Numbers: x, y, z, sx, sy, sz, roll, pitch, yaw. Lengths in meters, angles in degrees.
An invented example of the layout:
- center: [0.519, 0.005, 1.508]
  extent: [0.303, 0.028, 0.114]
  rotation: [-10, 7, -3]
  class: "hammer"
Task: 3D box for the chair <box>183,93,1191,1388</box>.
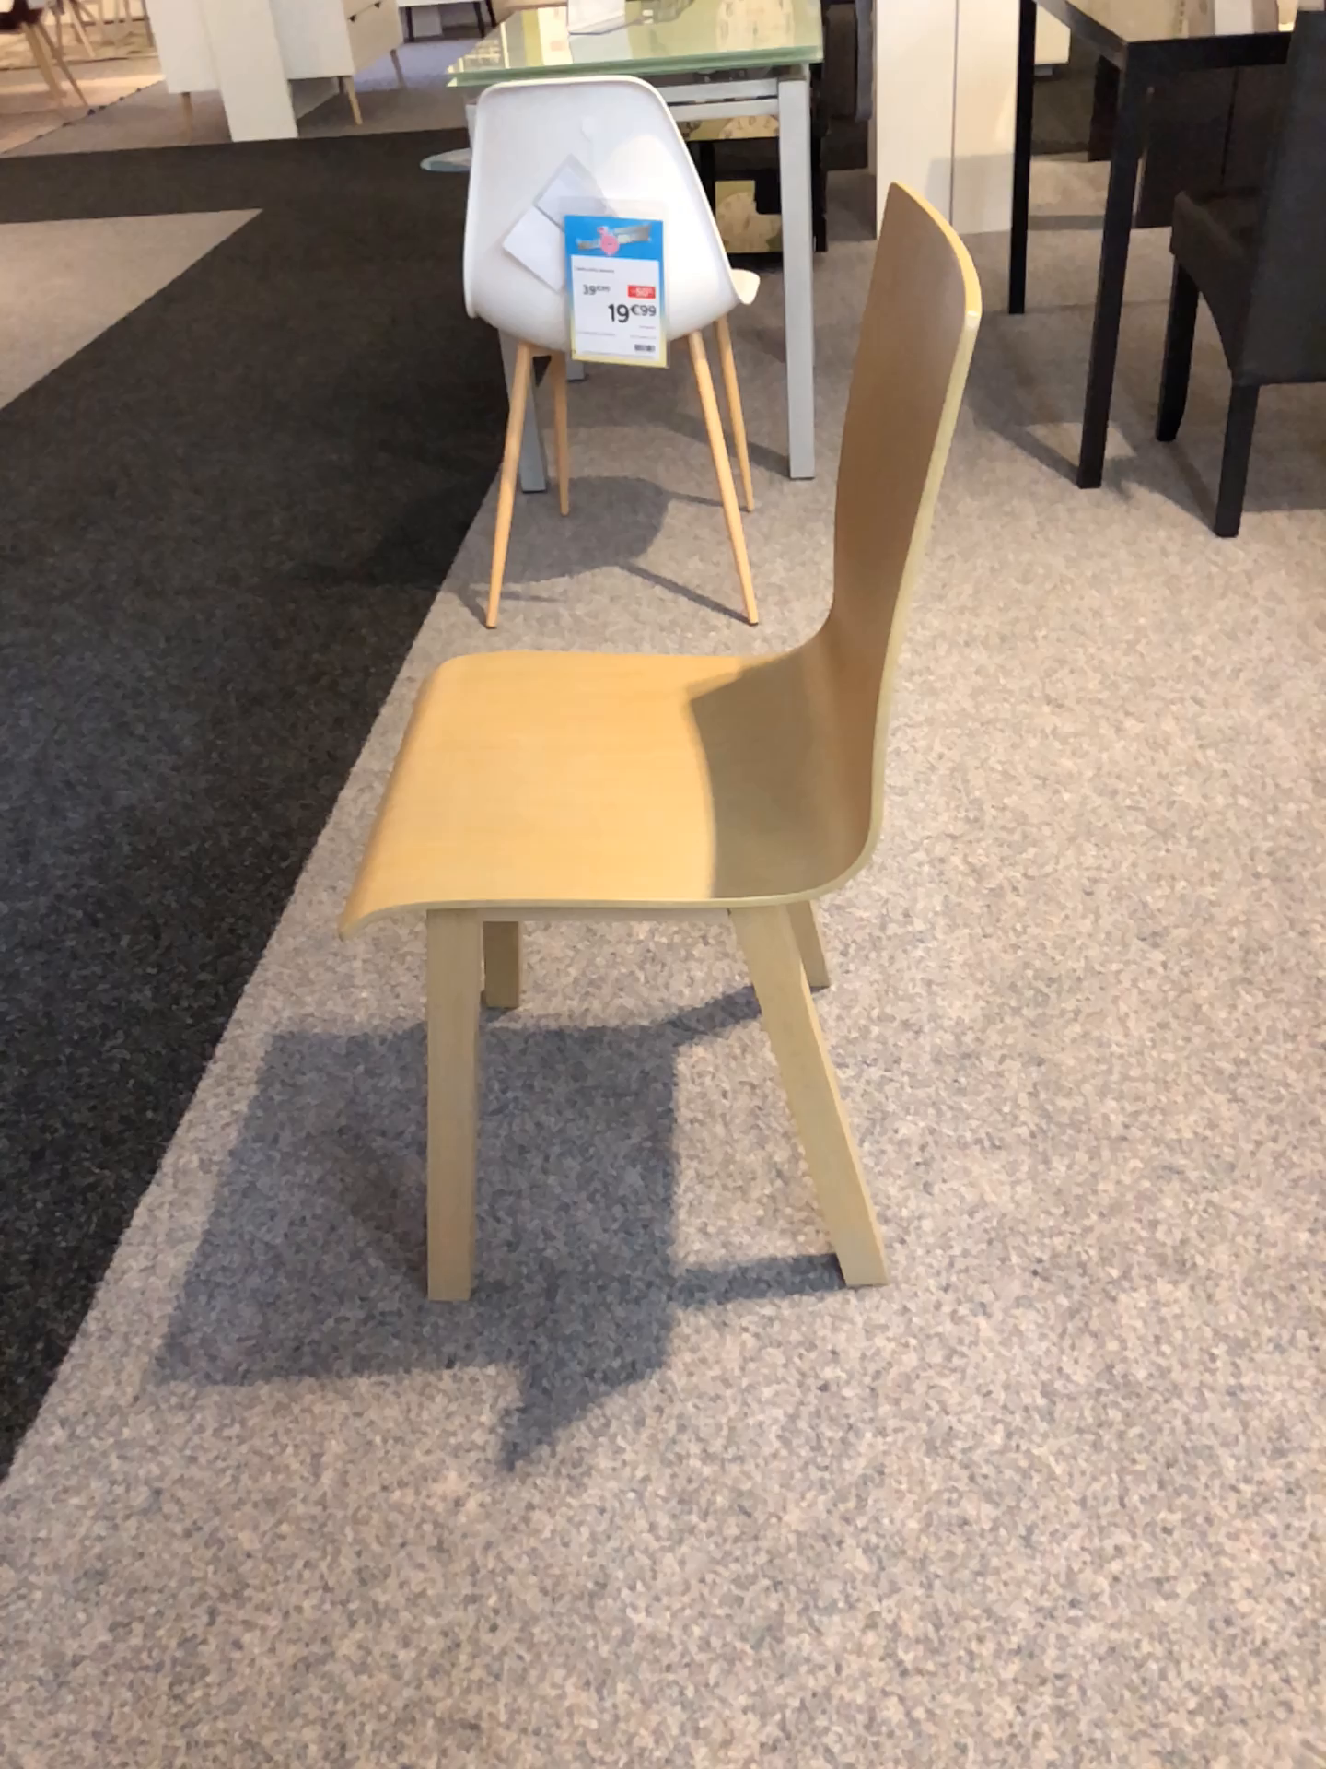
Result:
- center: [0.073, -0.097, 1.152]
  extent: [0.490, 0.835, 0.523]
  rotation: [4, 40, 11]
  class: "chair"
